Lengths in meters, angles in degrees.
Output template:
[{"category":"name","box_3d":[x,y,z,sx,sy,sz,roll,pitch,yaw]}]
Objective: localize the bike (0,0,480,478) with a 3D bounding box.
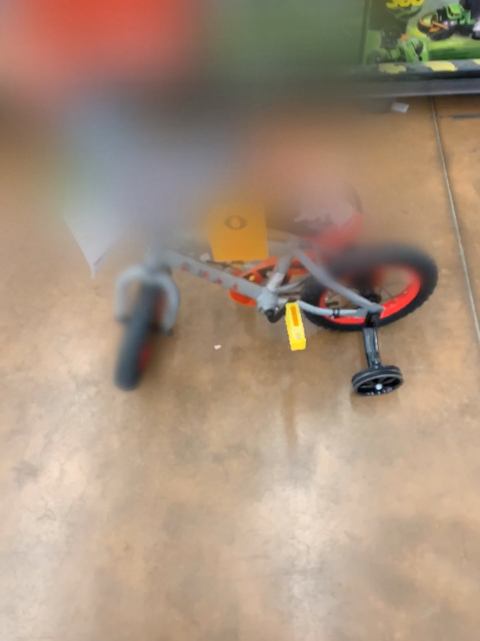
[{"category":"bike","box_3d":[0.036,-0.124,0.884,0.640,0.689,0.453,-15,57,0]}]
